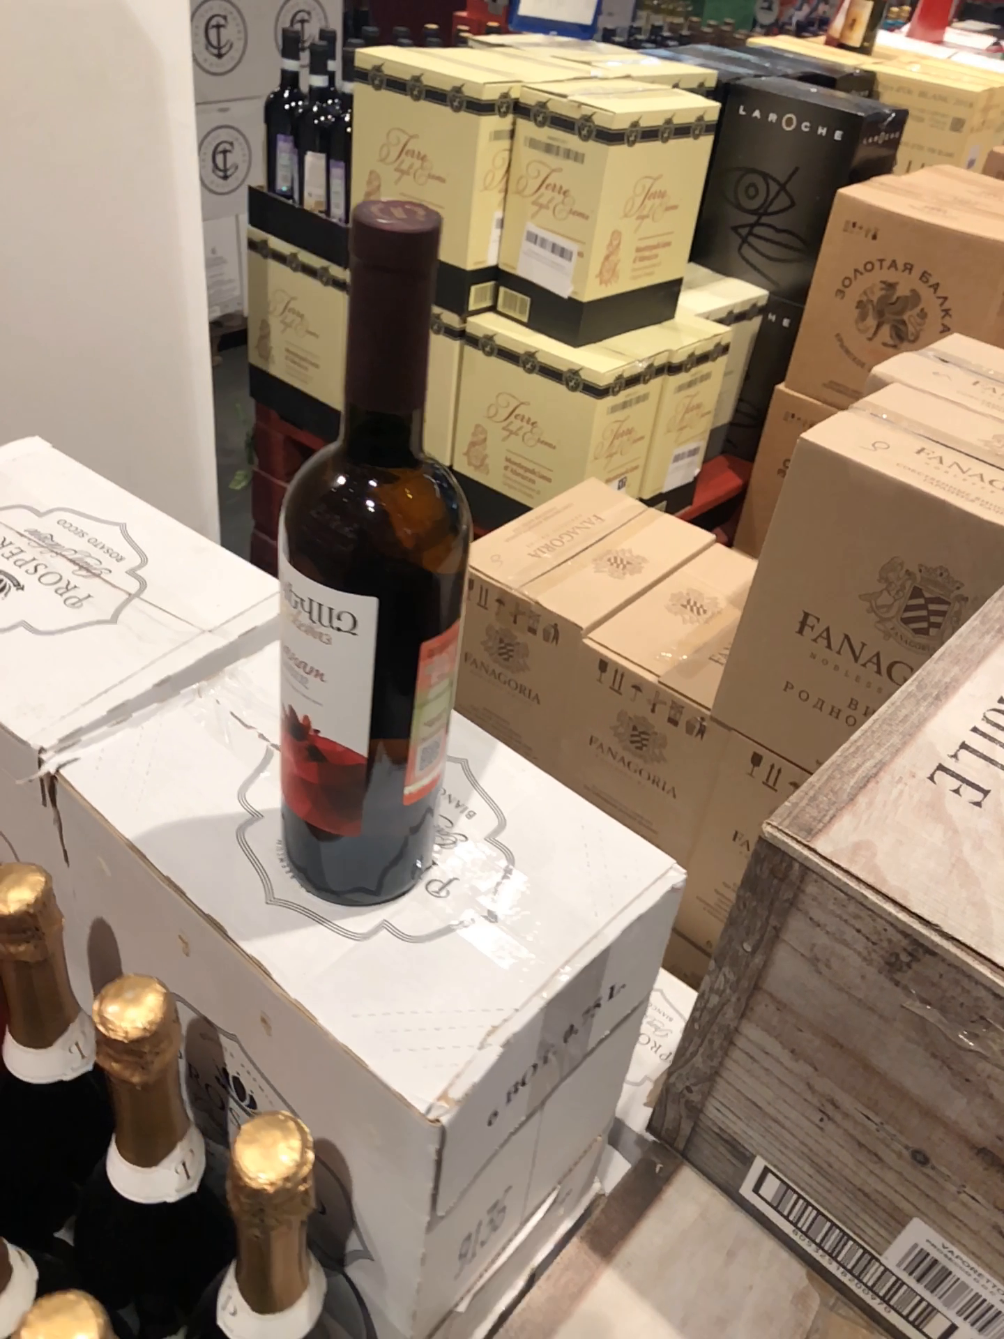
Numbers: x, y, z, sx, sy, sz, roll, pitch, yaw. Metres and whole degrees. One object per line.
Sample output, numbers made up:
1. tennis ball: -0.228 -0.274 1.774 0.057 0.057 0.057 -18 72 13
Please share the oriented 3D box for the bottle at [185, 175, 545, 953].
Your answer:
1. bottle: -0.061 -0.028 0.450 0.080 0.298 0.090 -23 47 -34
